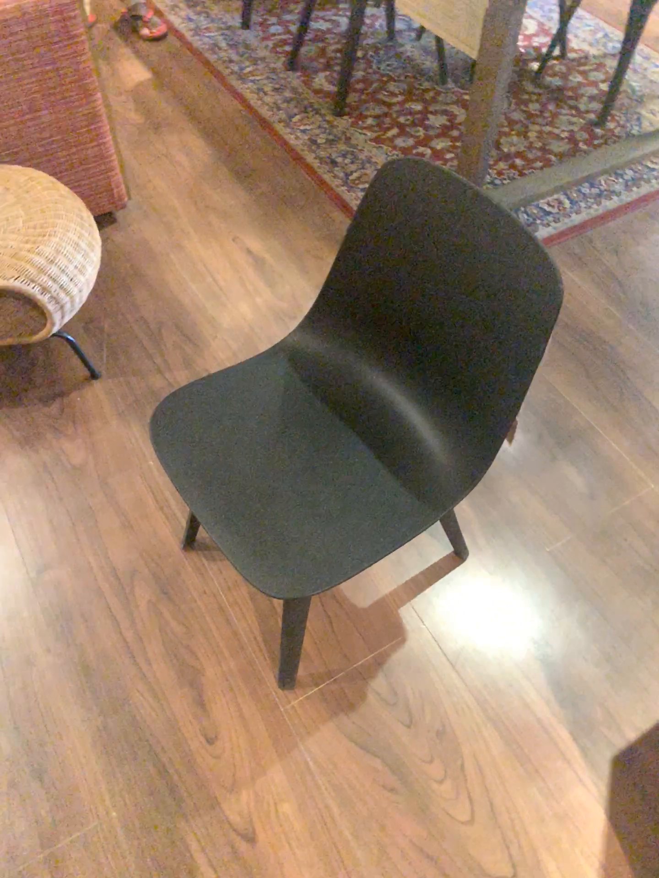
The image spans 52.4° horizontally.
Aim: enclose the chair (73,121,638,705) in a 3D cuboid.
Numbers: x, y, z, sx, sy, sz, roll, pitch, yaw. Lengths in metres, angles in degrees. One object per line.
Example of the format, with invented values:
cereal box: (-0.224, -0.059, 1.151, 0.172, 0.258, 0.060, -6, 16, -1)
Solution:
chair: (0.021, -0.001, 1.109, 0.530, 0.718, 0.441, -30, 61, -21)
